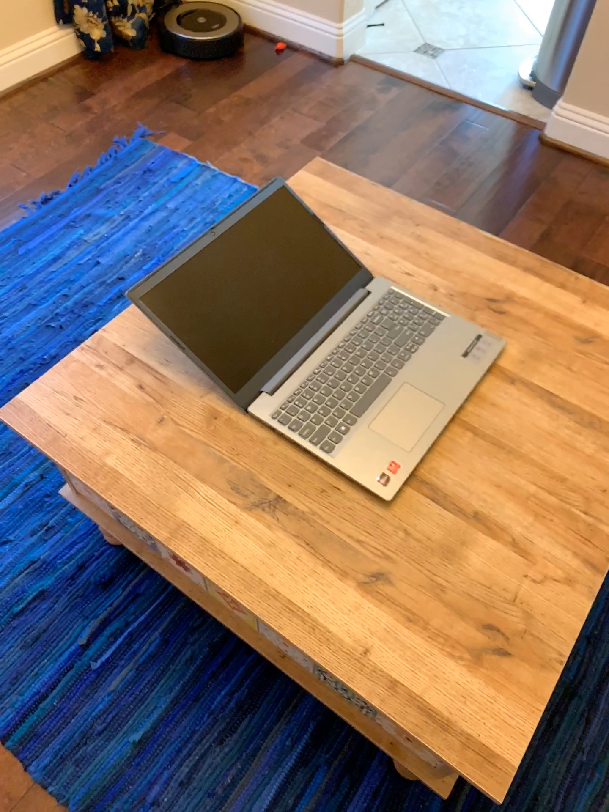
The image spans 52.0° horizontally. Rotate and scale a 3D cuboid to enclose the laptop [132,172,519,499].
[{"bbox_3d":[0.034,-0.137,0.962,0.461,0.099,0.346,34,61,17],"label":"laptop"}]
